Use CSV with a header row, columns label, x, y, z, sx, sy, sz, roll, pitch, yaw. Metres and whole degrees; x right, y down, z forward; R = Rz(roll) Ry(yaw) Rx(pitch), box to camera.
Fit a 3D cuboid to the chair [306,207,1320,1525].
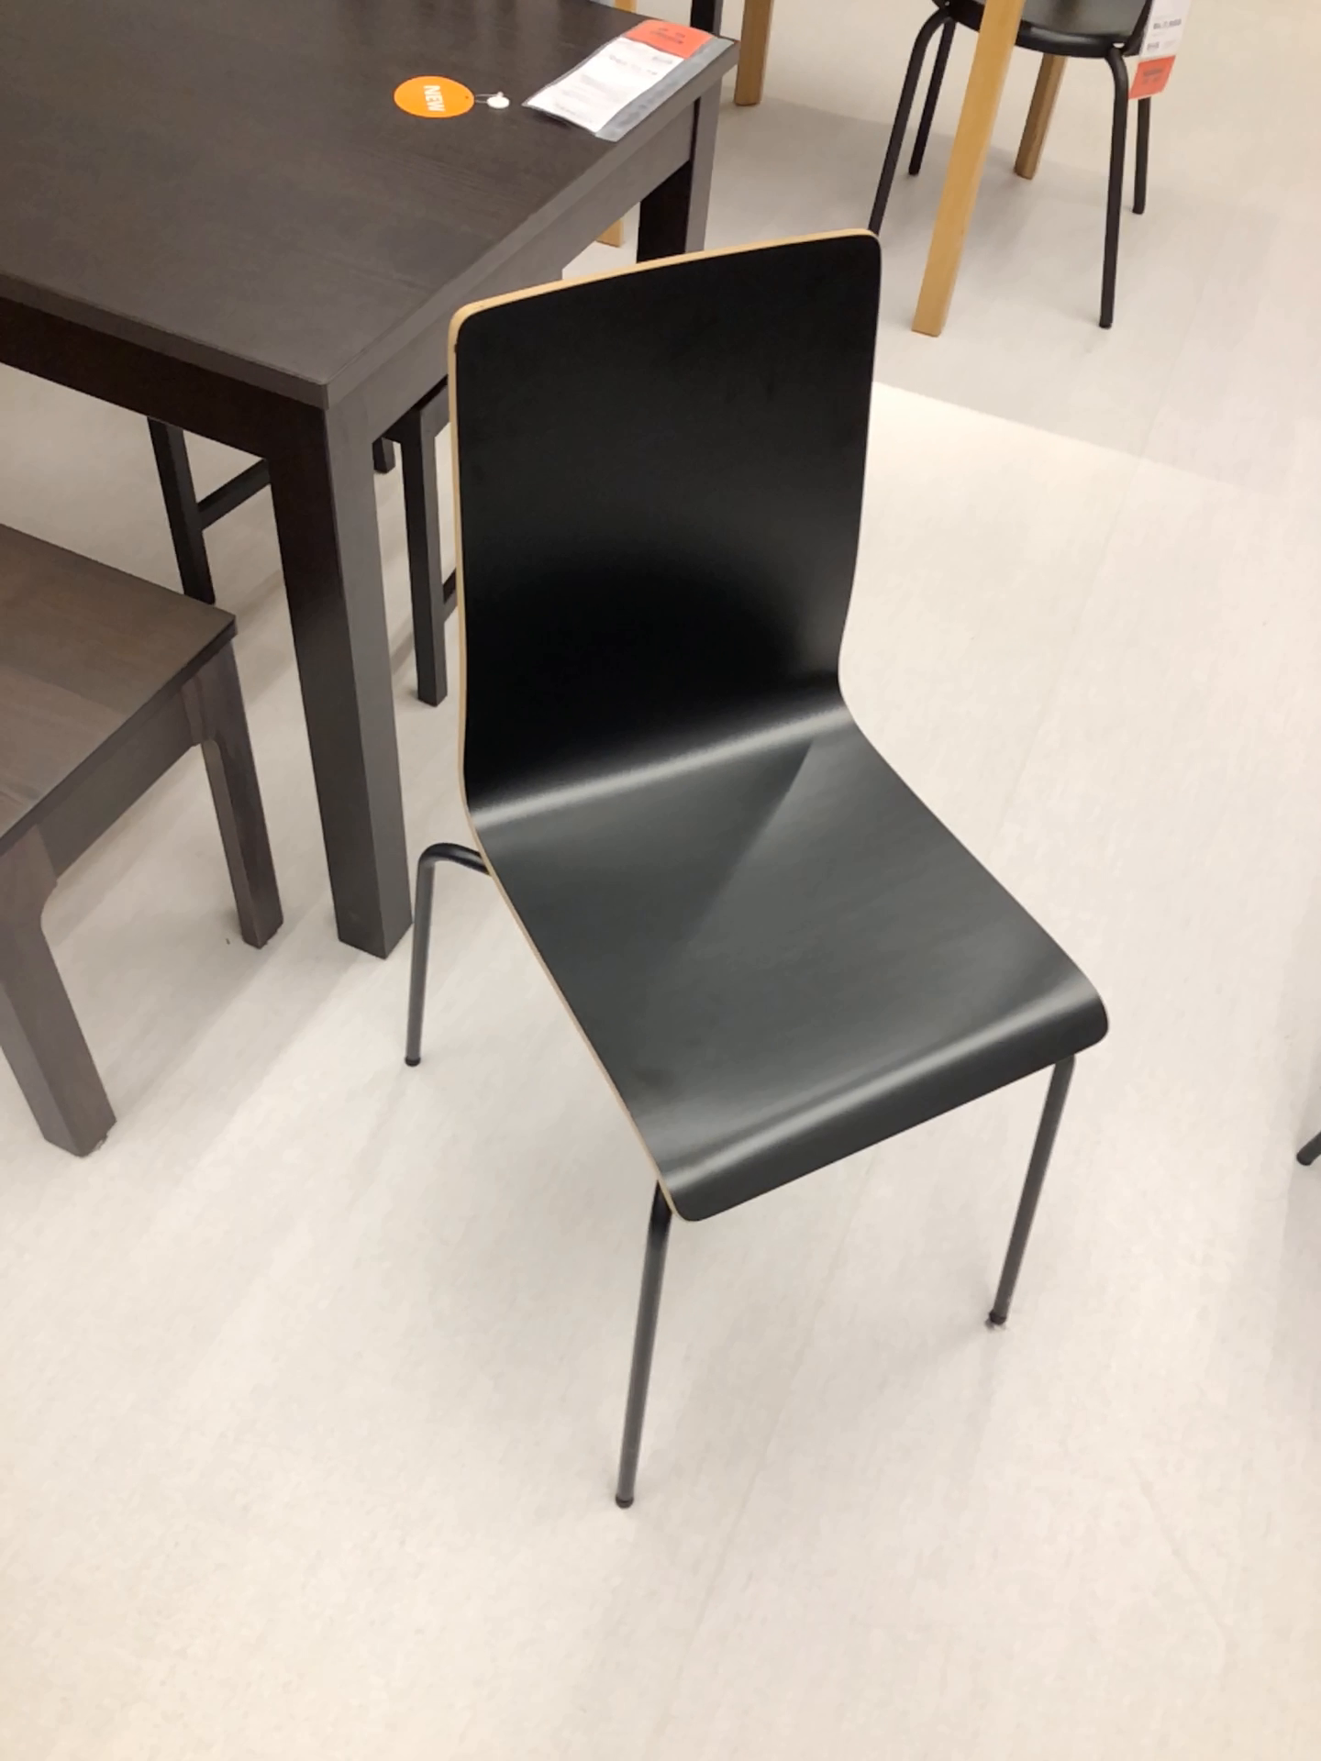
label,x,y,z,sx,sy,sz,roll,pitch,yaw
chair,0.069,0.026,1.131,0.451,0.805,0.532,-18,54,-20
